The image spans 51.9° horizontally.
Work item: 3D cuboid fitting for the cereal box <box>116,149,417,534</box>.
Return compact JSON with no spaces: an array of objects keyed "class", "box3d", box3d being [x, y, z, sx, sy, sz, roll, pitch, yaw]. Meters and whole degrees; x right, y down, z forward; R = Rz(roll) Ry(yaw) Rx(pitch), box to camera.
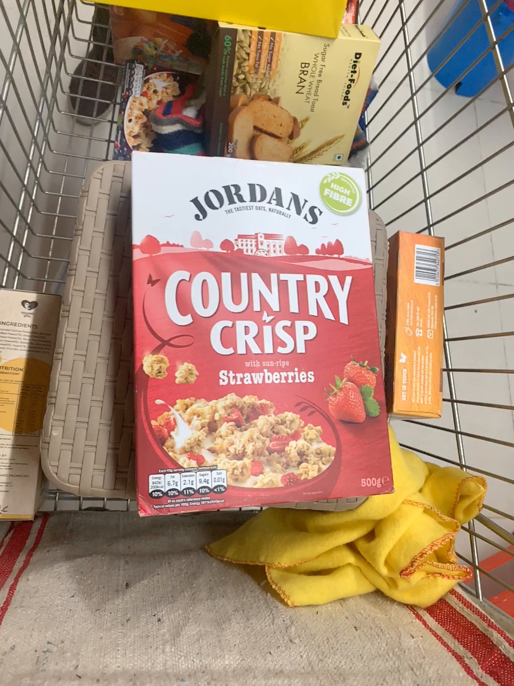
[{"class":"cereal box","box3d":[-0.002,-0.003,0.364,0.180,0.070,0.230,-1,79,-14]}]
